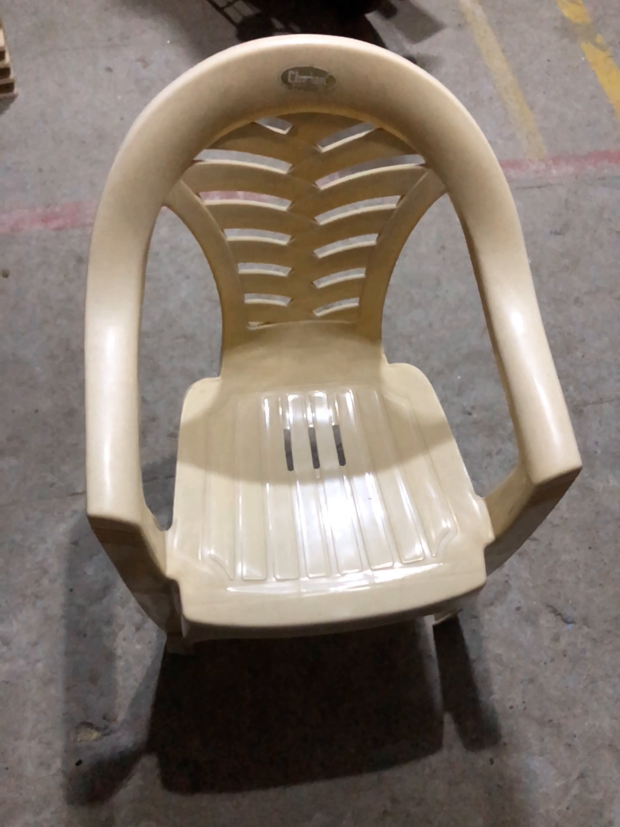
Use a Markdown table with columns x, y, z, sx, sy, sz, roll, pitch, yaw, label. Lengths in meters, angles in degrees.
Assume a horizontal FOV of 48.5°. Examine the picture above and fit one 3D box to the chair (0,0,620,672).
| x | y | z | sx | sy | sz | roll | pitch | yaw | label |
| --- | --- | --- | --- | --- | --- | --- | --- | --- | --- |
| 0.021 | 0.004 | 0.938 | 0.560 | 0.867 | 0.562 | -2 | 67 | -7 | chair |
